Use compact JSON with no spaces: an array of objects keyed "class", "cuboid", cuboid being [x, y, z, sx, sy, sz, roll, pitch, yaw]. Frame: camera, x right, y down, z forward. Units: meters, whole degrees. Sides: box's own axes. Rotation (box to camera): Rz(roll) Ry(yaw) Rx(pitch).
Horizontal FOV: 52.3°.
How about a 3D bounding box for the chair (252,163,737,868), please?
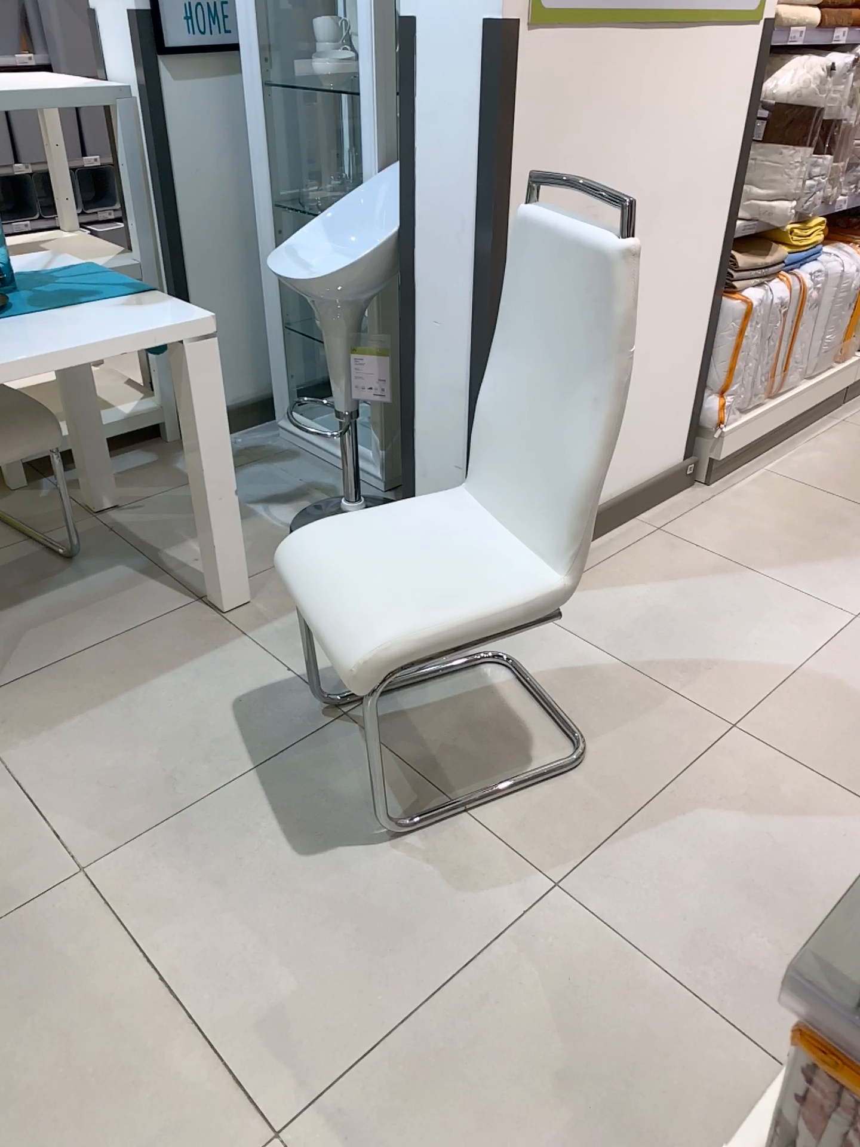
[{"class":"chair","cuboid":[0.060,-0.100,1.507,0.520,1.026,0.482,-13,35,-20]}]
